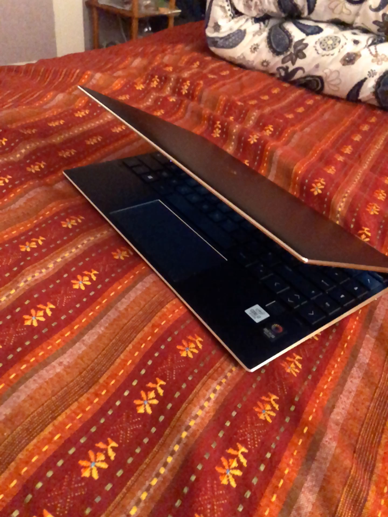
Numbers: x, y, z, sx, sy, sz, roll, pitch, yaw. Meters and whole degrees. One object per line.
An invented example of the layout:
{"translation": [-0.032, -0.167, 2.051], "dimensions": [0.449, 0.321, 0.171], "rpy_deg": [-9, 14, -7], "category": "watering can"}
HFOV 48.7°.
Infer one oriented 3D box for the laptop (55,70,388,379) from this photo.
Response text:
{"translation": [0.025, -0.082, 0.408], "dimensions": [0.203, 0.101, 0.326], "rpy_deg": [-18, 43, -34], "category": "laptop"}
